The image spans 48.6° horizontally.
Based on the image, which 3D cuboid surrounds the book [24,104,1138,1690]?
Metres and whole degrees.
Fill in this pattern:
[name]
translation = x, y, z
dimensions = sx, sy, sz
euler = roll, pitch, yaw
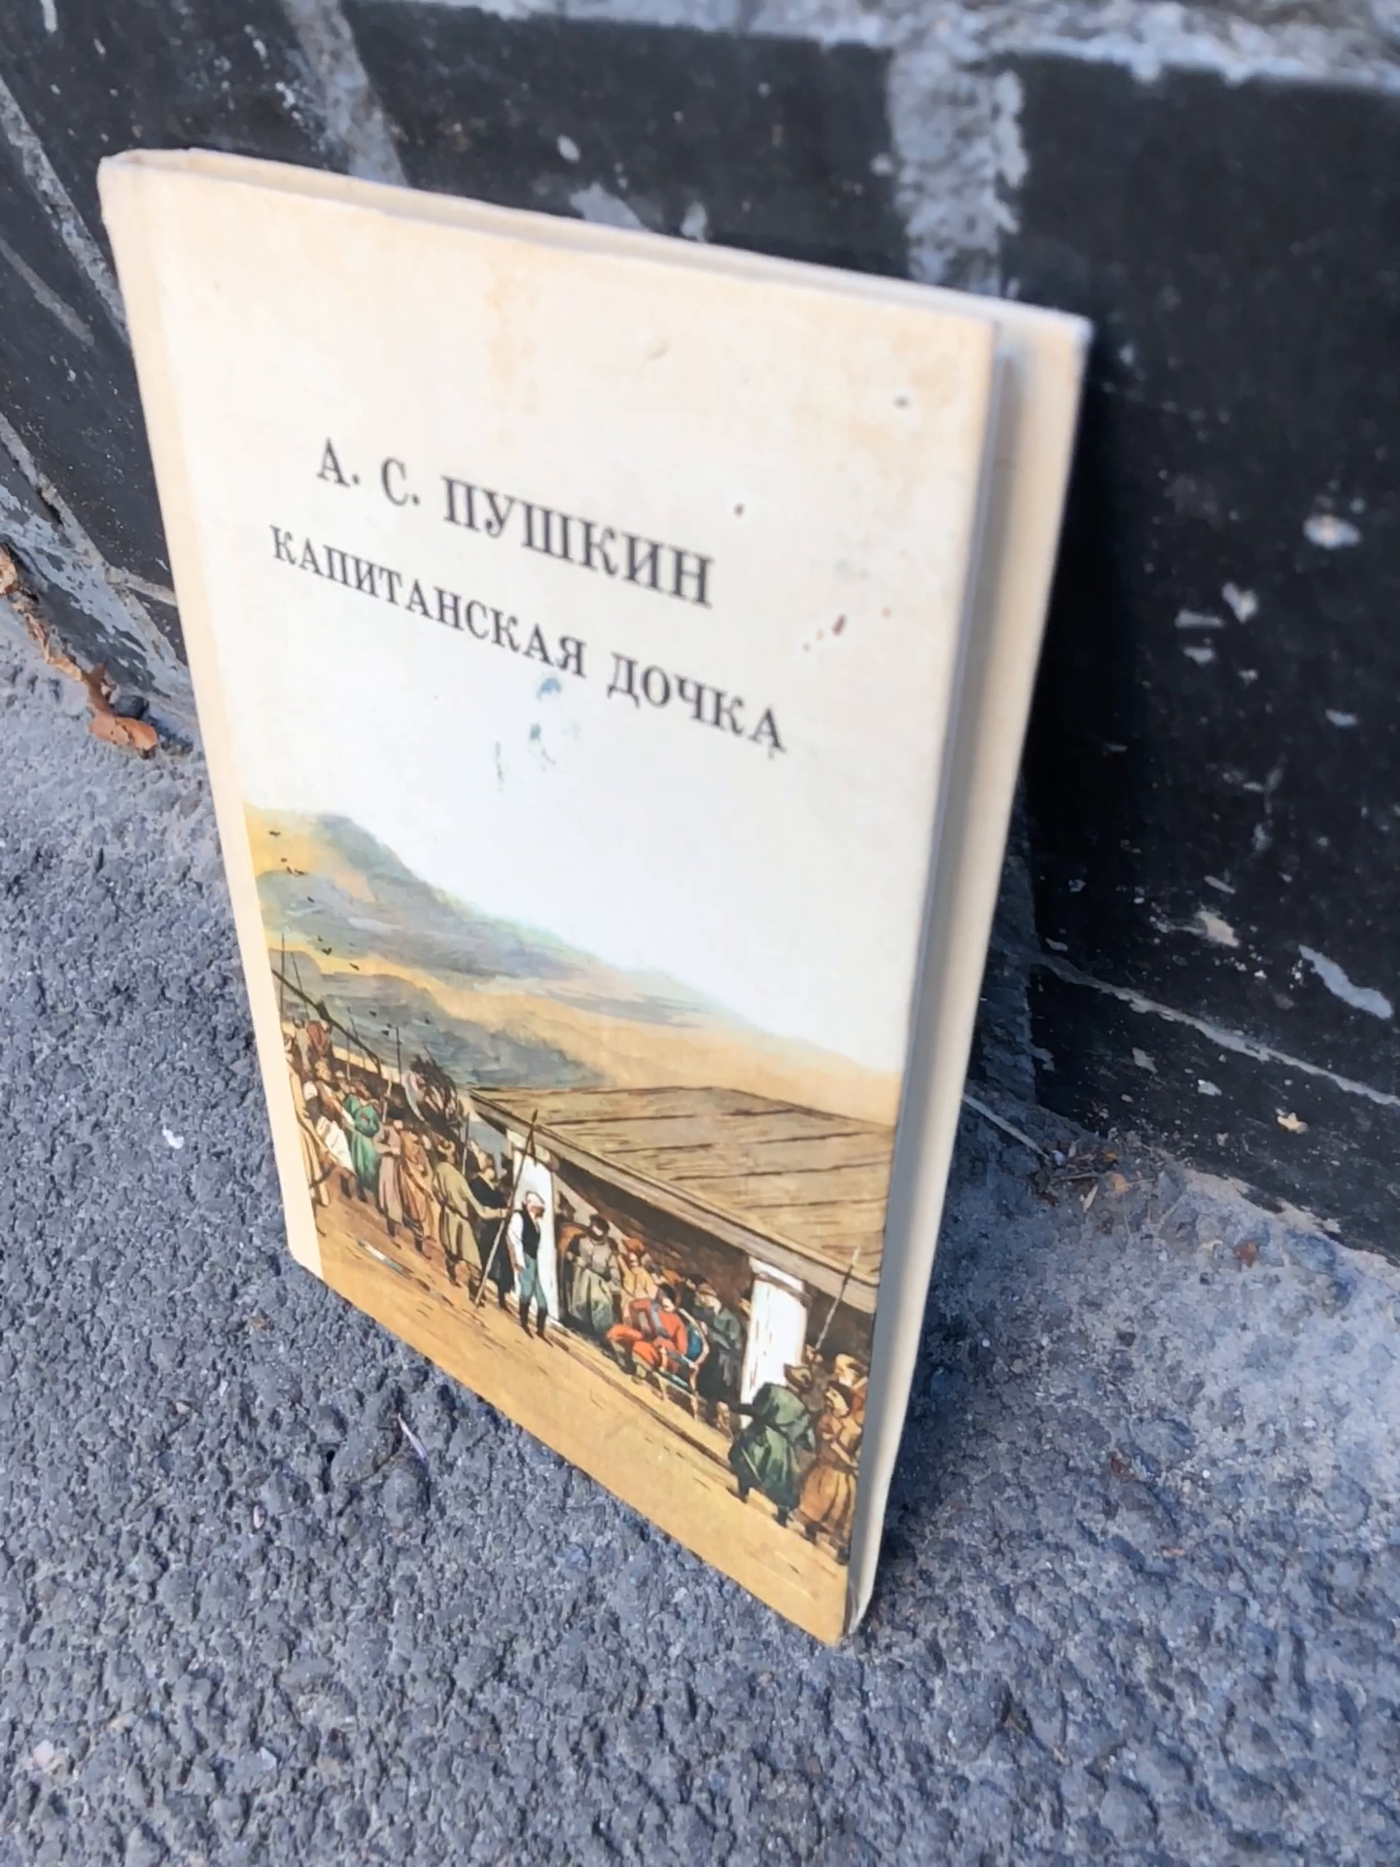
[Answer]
[book]
translation = -0.027, 0.005, 0.235
dimensions = 0.145, 0.215, 0.023
euler = 26, 42, 29
